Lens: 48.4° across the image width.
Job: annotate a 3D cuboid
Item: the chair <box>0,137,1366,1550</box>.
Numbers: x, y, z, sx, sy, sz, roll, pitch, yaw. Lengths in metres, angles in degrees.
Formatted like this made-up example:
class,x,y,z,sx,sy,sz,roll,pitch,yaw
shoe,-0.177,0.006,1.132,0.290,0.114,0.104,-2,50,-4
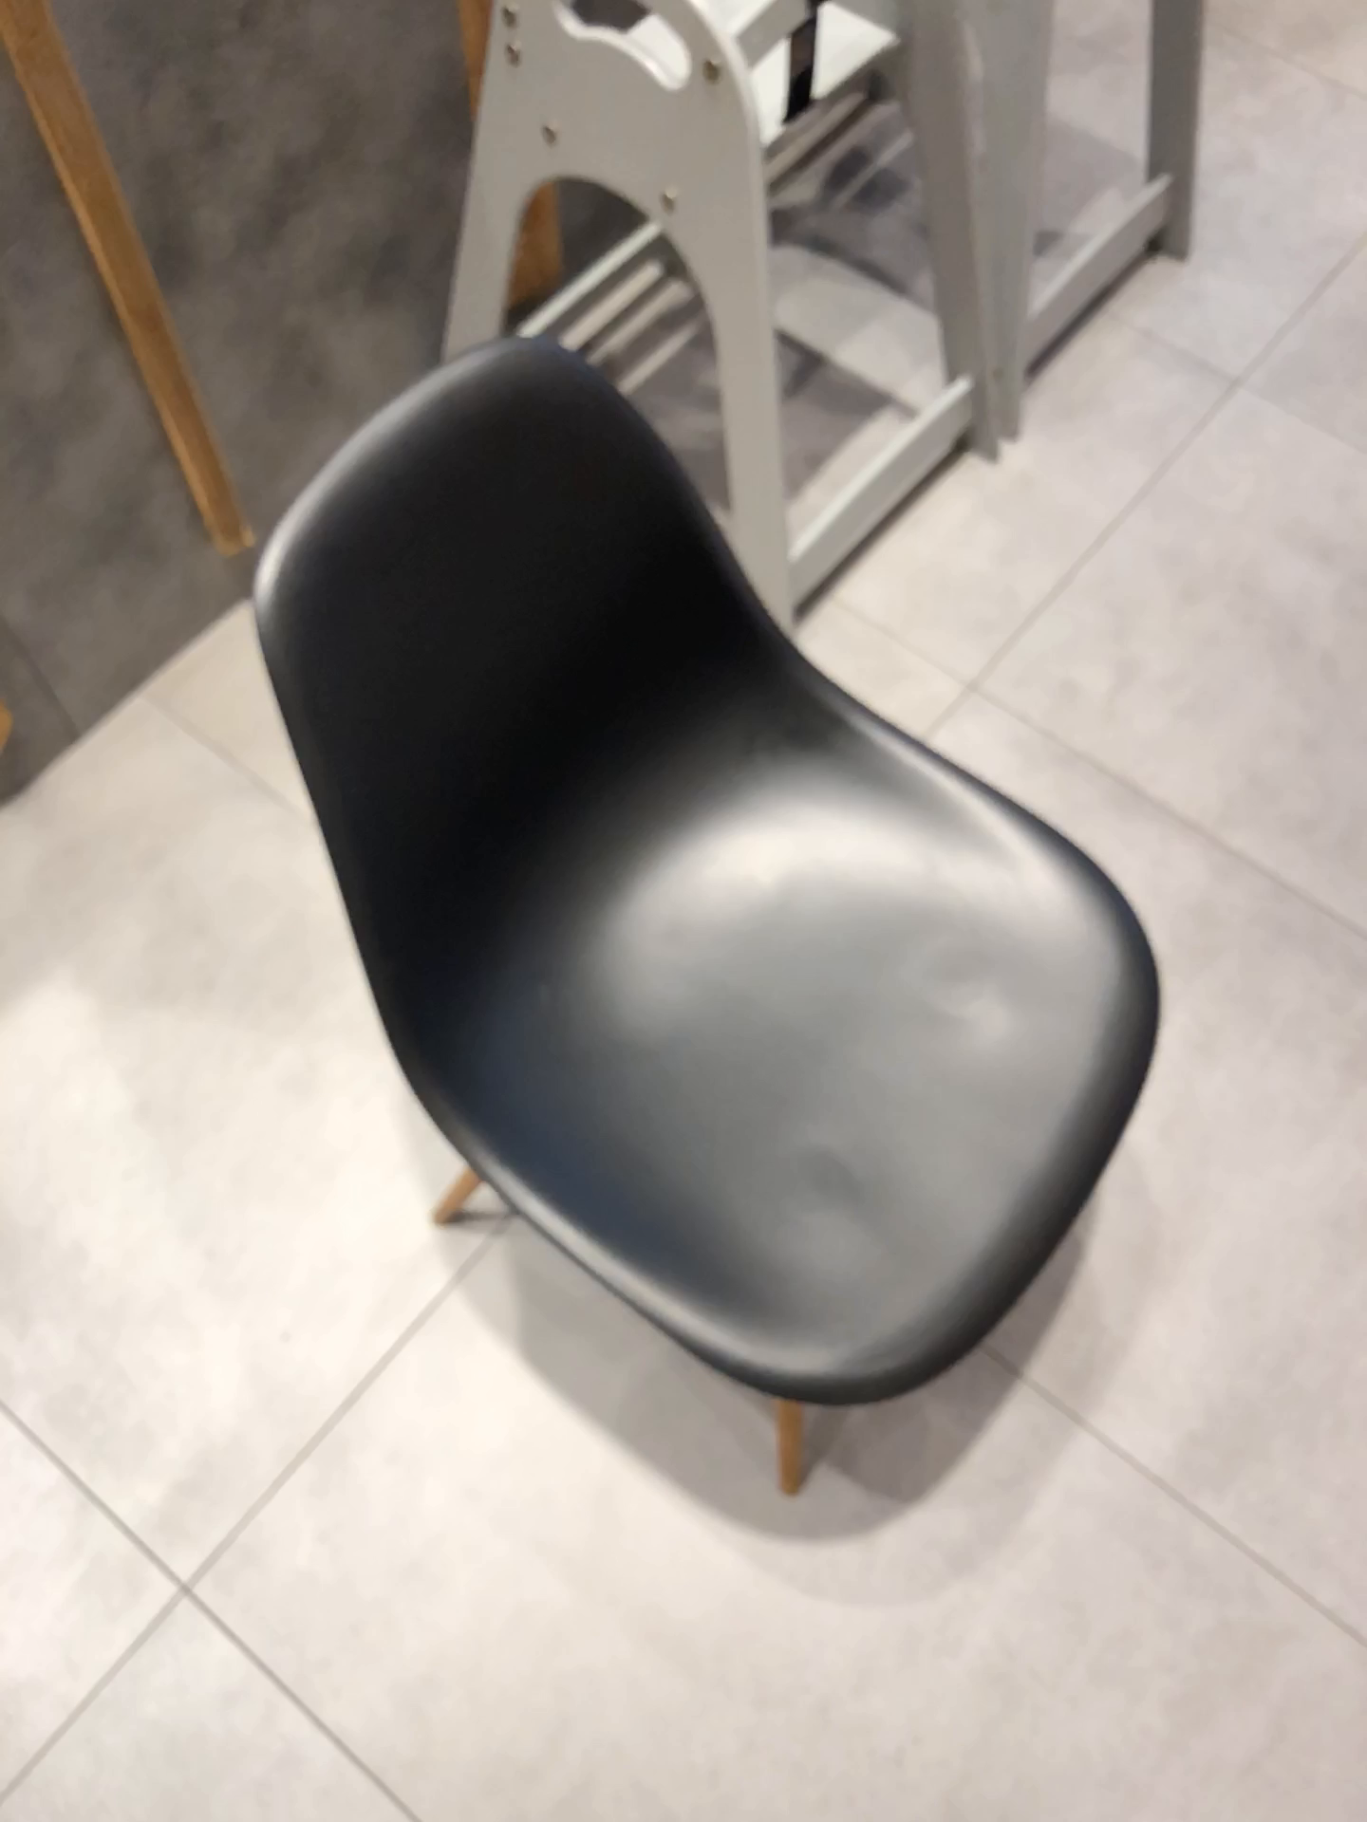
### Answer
class,x,y,z,sx,sy,sz,roll,pitch,yaw
chair,0.035,0.033,1.096,0.564,0.759,0.509,34,68,14
